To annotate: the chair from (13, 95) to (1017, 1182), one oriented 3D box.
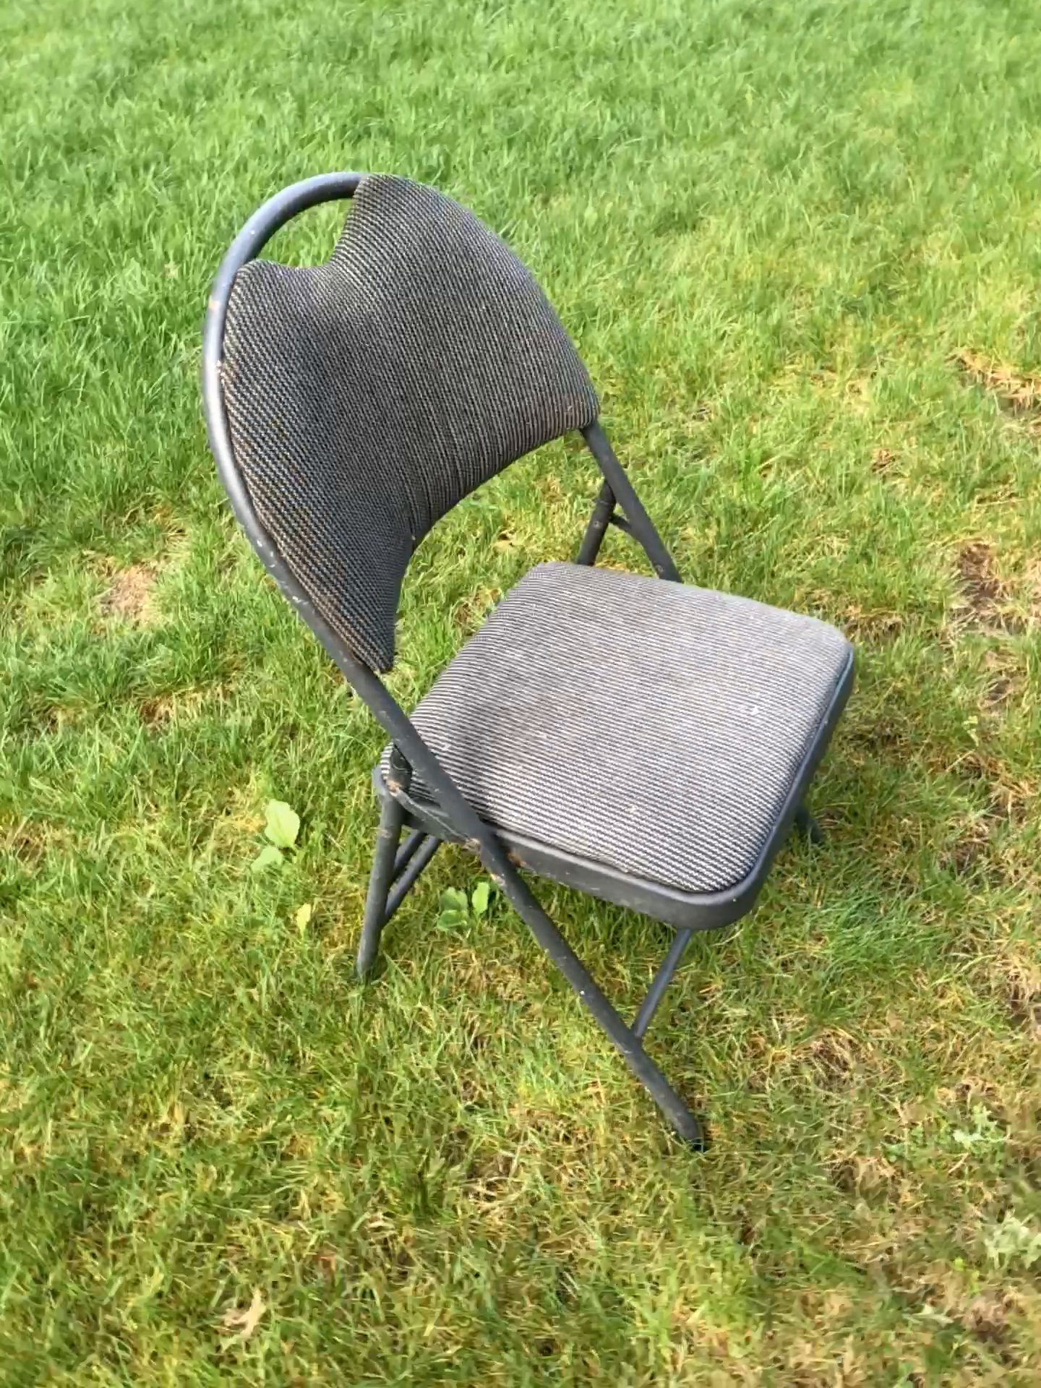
[{"bbox_3d":[0.046,-0.048,1.141,0.571,0.815,0.532,19,50,23],"label":"chair"}]
